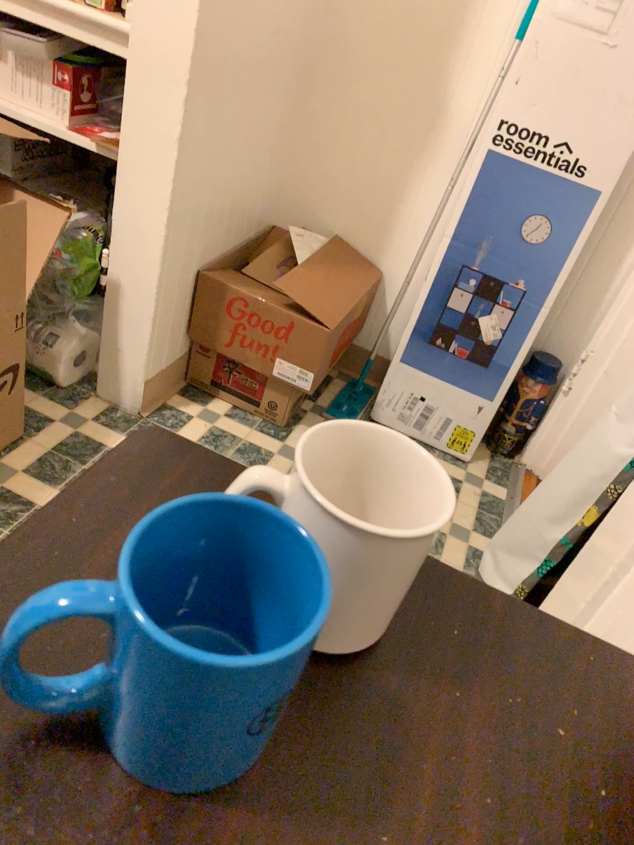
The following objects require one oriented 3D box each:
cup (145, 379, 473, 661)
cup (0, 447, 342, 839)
[{"bbox_3d":[-0.013,0.052,0.330,0.130,0.099,0.091,6,36,-18],"label":"cup"},{"bbox_3d":[-0.080,0.082,0.251,0.140,0.099,0.090,5,37,-19],"label":"cup"}]
